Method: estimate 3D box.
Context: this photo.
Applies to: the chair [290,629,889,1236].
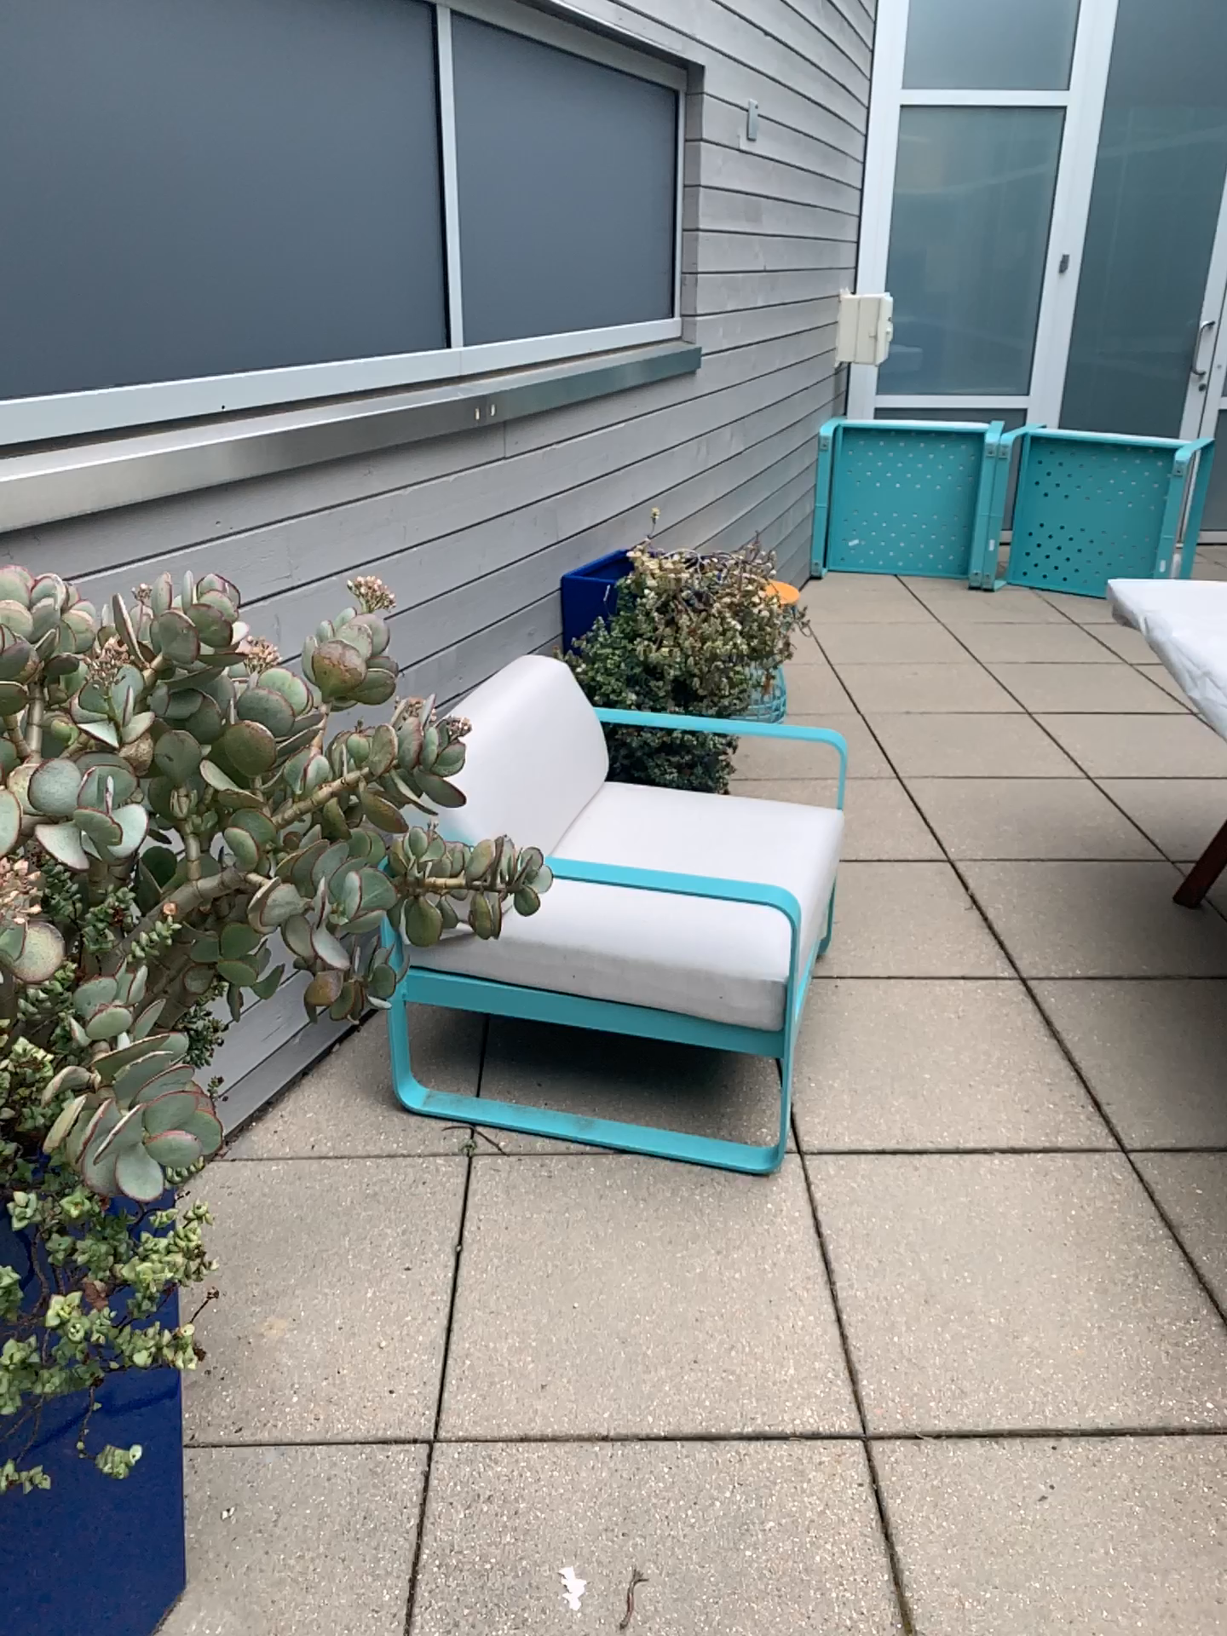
[{"bbox_3d":[0.026,0.136,2.552,0.901,0.736,0.974,7,24,15],"label":"chair"}]
